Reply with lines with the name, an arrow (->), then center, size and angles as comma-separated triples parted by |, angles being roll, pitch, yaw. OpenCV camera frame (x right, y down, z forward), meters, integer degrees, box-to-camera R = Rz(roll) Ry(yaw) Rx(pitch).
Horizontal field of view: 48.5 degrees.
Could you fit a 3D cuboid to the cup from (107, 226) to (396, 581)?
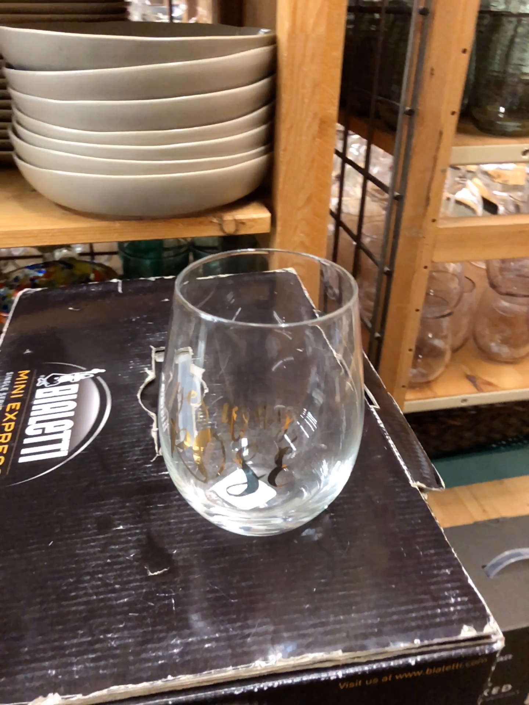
cup -> 0.001, 0.018, 0.264 | 0.096, 0.114, 0.091 | 1, 31, -1
